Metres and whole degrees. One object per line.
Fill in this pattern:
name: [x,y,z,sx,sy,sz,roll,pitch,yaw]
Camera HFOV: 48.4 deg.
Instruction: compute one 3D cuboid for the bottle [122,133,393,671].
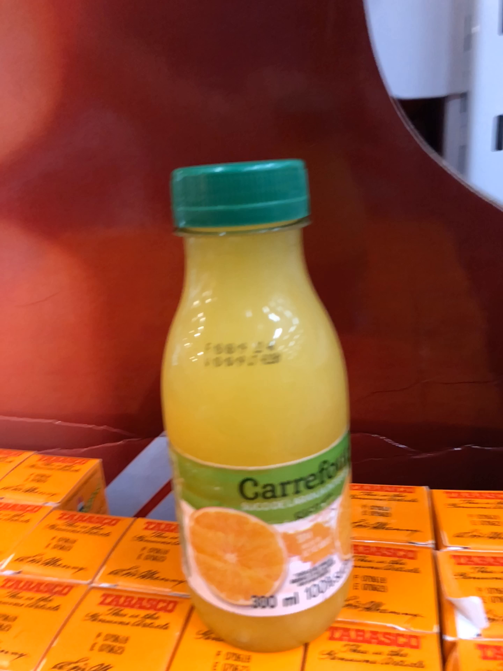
bottle: [0.005,0.018,0.177,0.060,0.149,0.050,-12,18,-23]
